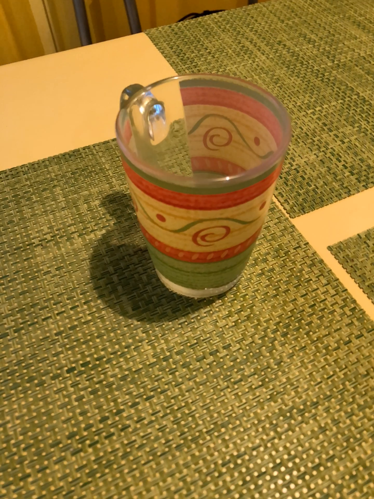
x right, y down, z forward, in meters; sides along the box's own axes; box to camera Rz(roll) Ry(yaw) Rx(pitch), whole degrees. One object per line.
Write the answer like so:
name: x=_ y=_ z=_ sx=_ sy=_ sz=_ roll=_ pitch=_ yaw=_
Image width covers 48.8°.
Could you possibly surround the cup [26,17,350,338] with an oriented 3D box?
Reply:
cup: x=-0.004 y=-0.042 z=0.220 sx=0.090 sy=0.089 sz=0.120 roll=-32 pitch=60 yaw=-21
